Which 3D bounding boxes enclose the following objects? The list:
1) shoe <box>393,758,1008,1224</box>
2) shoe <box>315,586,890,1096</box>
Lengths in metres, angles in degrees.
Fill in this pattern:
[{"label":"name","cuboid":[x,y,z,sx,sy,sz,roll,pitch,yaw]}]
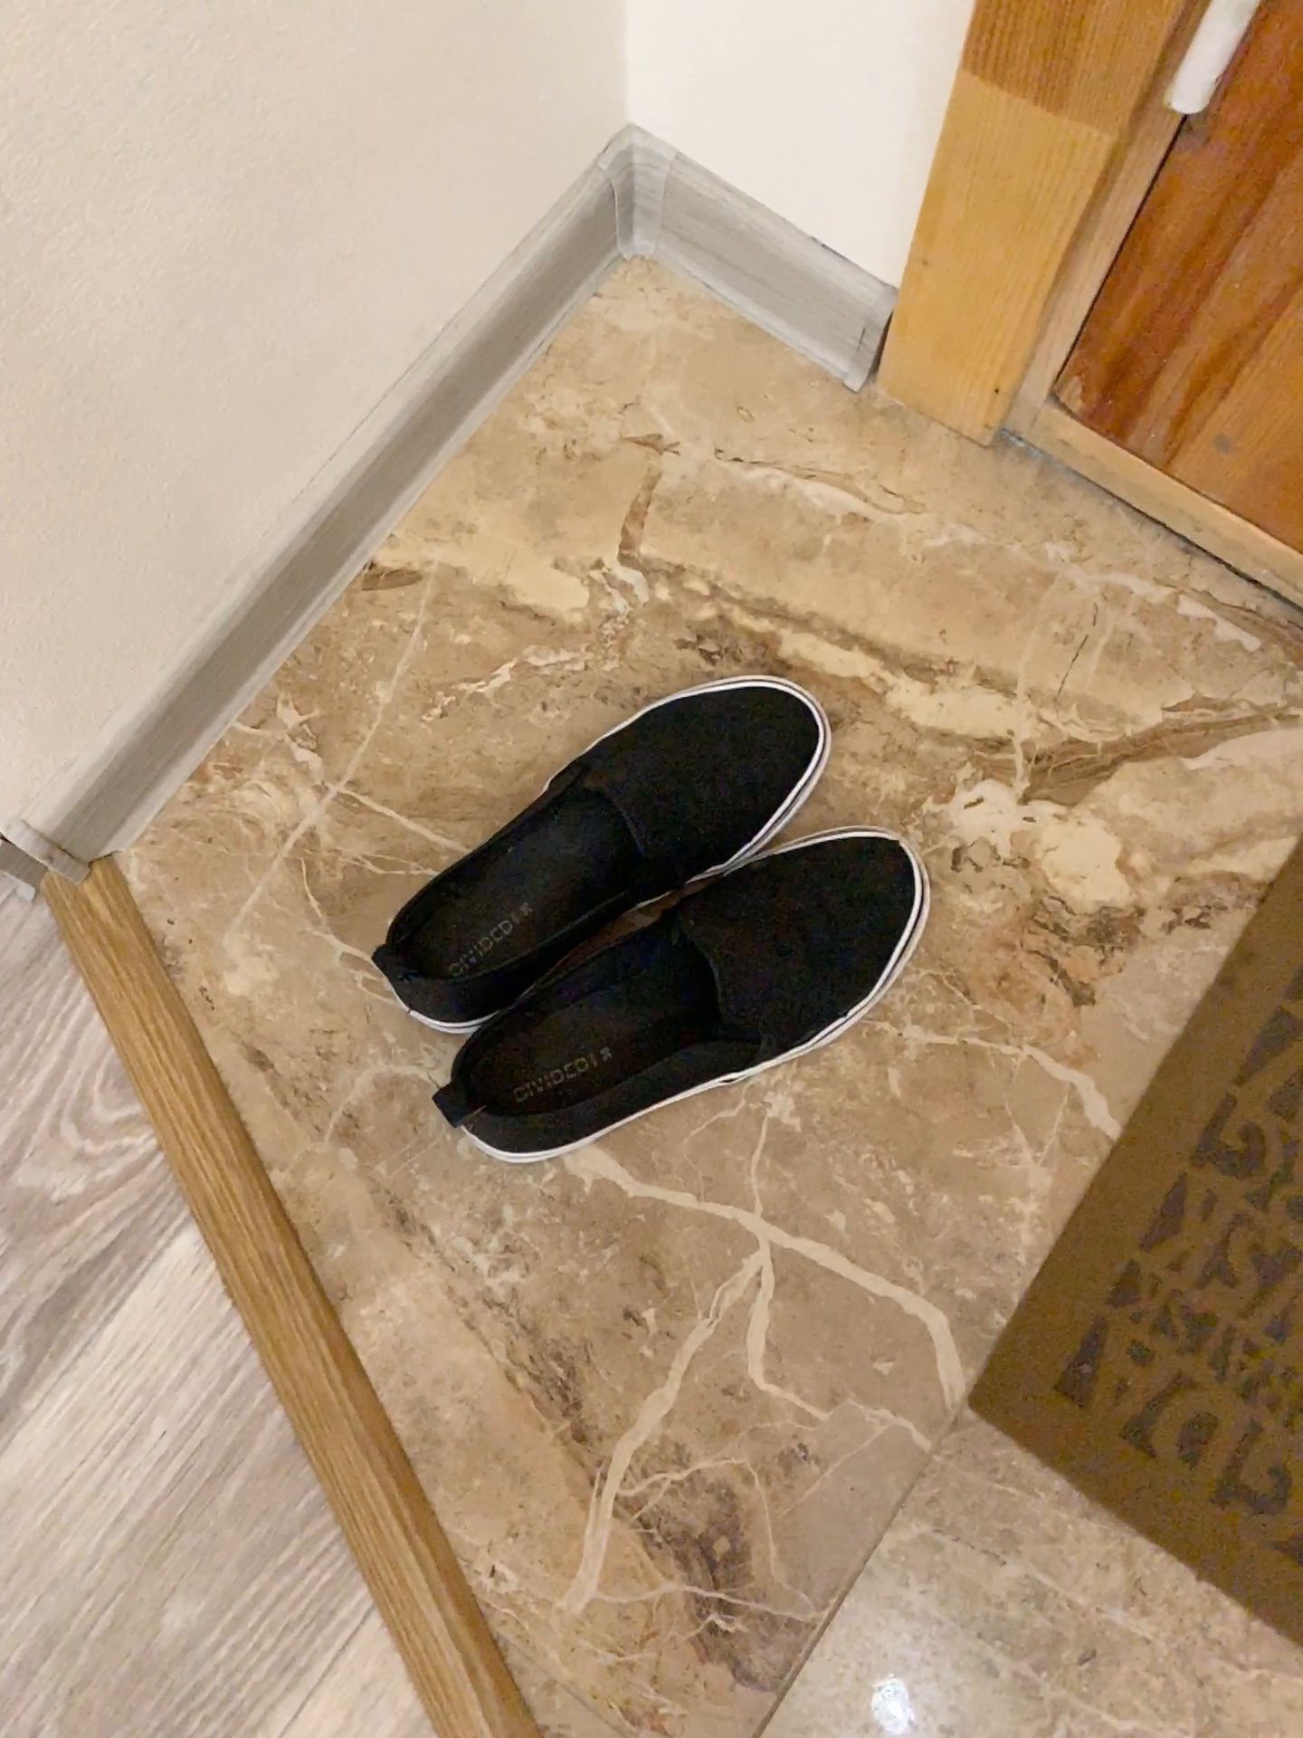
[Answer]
[{"label":"shoe","cuboid":[0.022,0.055,0.597,0.250,0.060,0.090,-28,77,-7]},{"label":"shoe","cuboid":[-0.019,-0.013,0.613,0.250,0.060,0.090,-38,78,-10]}]
